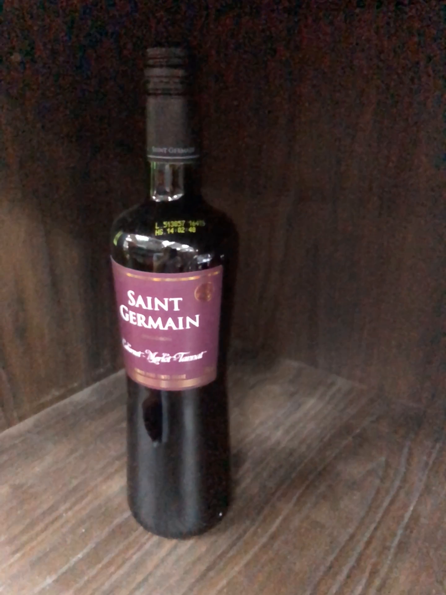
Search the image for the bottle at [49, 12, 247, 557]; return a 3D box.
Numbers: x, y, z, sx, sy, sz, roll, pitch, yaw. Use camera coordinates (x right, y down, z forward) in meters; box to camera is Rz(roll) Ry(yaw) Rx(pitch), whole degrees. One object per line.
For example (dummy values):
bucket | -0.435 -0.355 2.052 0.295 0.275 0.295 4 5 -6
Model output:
bottle | -0.032 0.009 0.302 0.080 0.308 0.070 3 22 7
